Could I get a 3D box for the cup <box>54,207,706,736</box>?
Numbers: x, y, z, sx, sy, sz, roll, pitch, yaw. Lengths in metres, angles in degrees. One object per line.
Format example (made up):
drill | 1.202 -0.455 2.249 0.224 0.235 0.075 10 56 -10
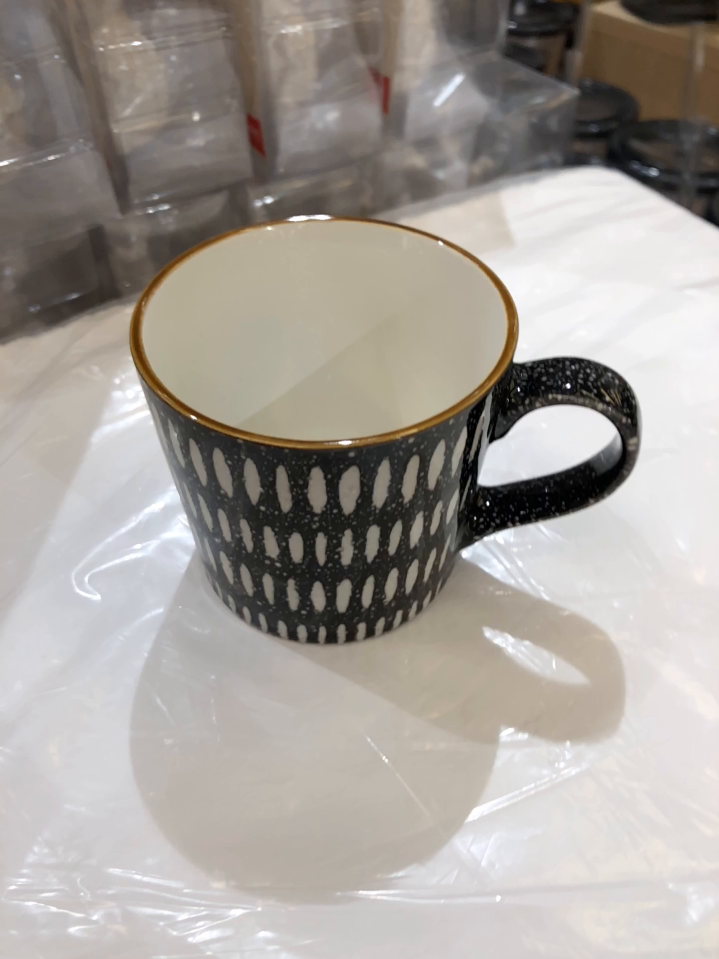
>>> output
cup | 0.007 -0.004 0.192 0.110 0.079 0.081 7 46 6
